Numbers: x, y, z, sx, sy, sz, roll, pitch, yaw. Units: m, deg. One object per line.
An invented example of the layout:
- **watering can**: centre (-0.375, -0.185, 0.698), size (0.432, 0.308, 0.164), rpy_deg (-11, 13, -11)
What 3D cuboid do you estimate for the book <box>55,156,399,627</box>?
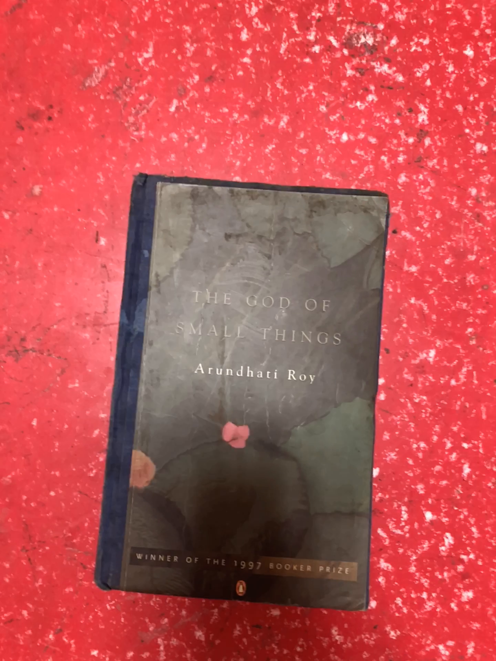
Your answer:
- **book**: centre (-0.008, 0.027, 0.296), size (0.150, 0.040, 0.220), rpy_deg (5, 85, 2)
